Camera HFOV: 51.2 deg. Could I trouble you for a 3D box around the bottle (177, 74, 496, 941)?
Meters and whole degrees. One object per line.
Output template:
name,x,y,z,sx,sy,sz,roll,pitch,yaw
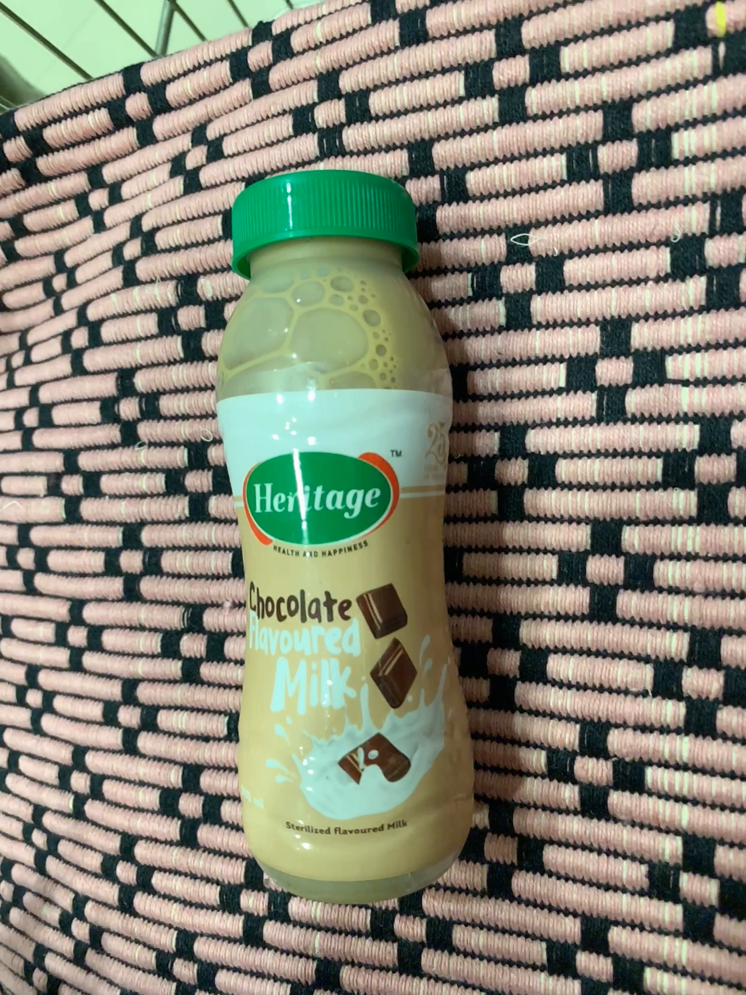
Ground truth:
bottle,-0.004,0.001,0.156,0.050,0.050,0.140,-1,87,14
